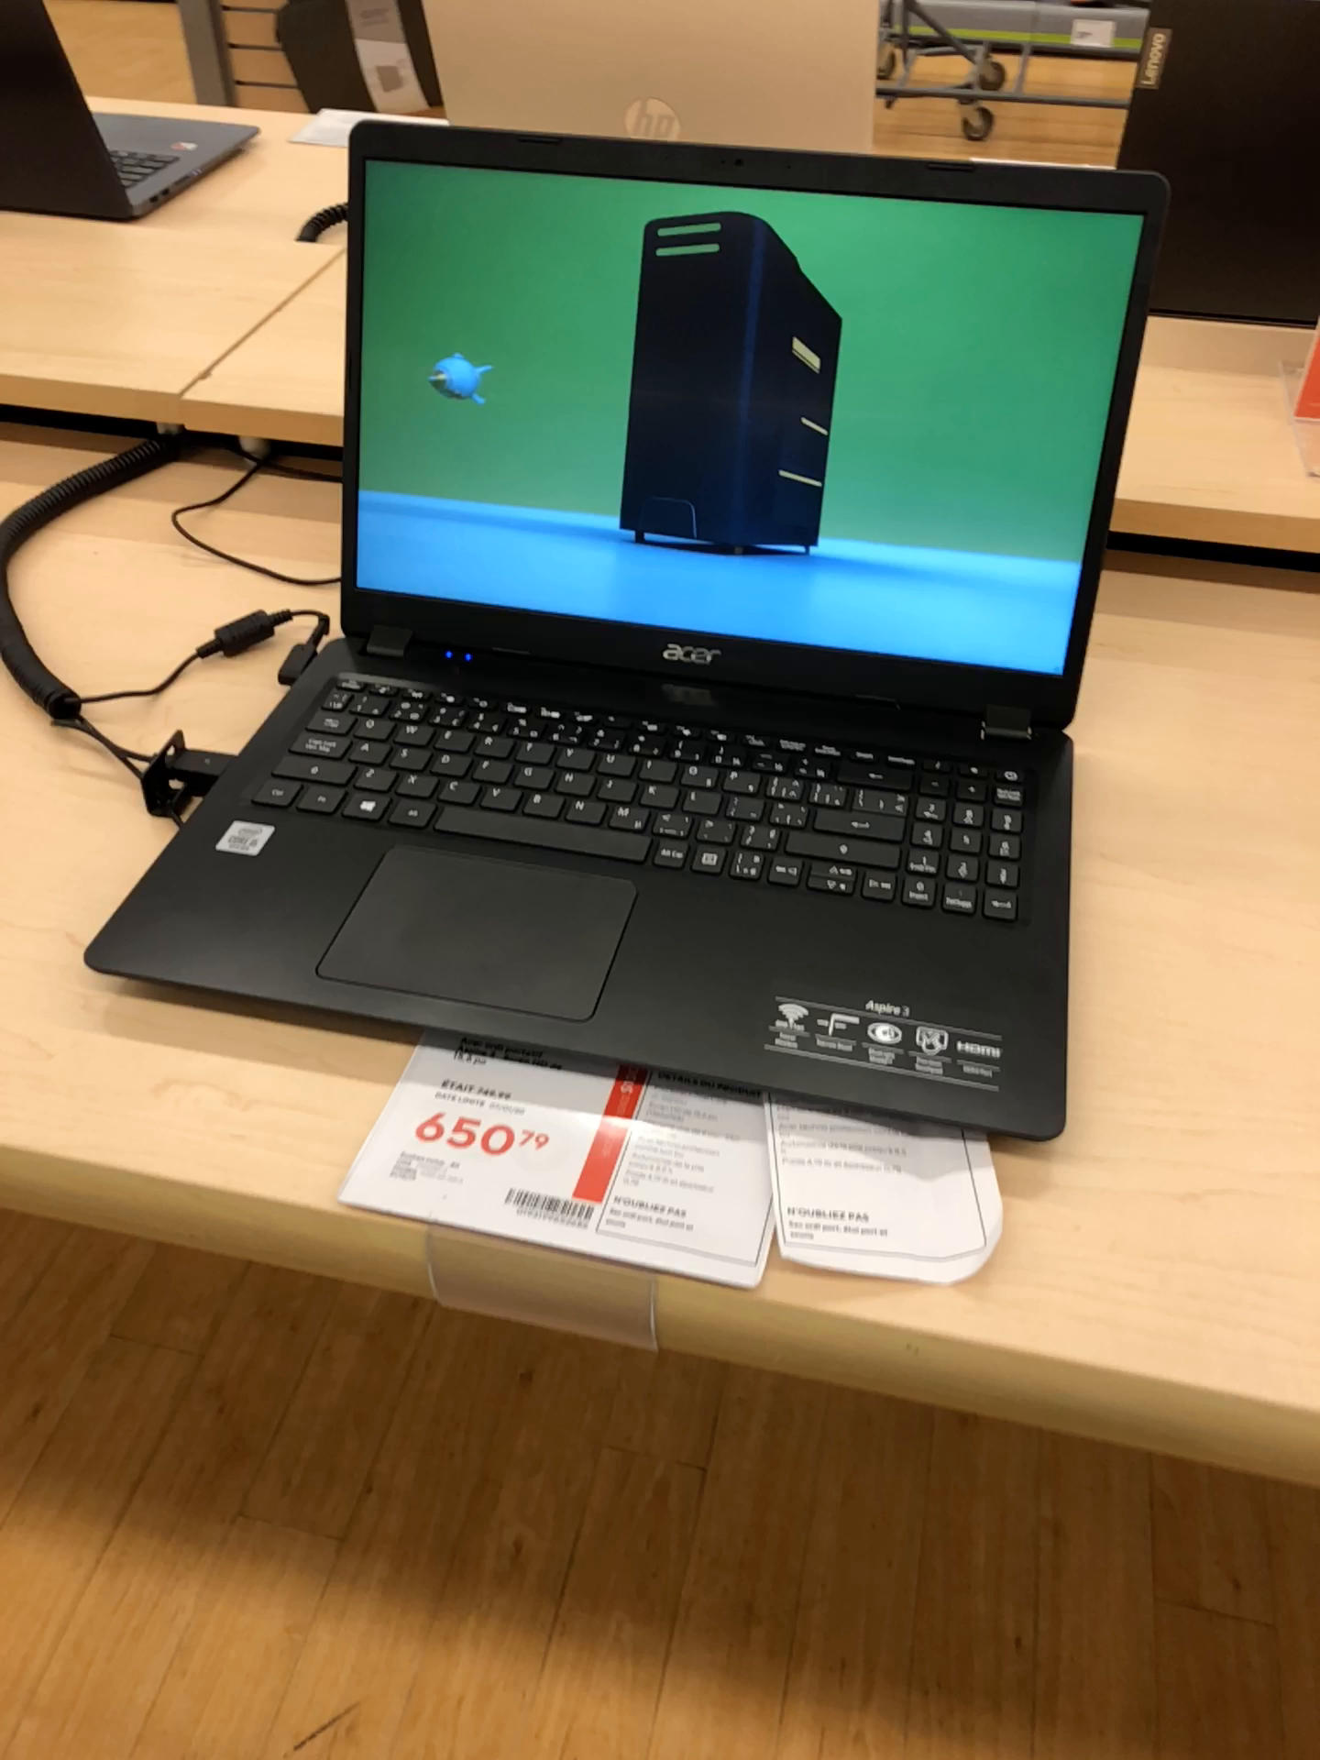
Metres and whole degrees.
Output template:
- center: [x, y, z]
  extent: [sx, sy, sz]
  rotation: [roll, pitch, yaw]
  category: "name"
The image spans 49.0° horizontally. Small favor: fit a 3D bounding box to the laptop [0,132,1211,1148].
- center: [-0.004, -0.124, 0.569]
  extent: [0.354, 0.210, 0.329]
  rotation: [10, 42, 10]
  category: "laptop"
